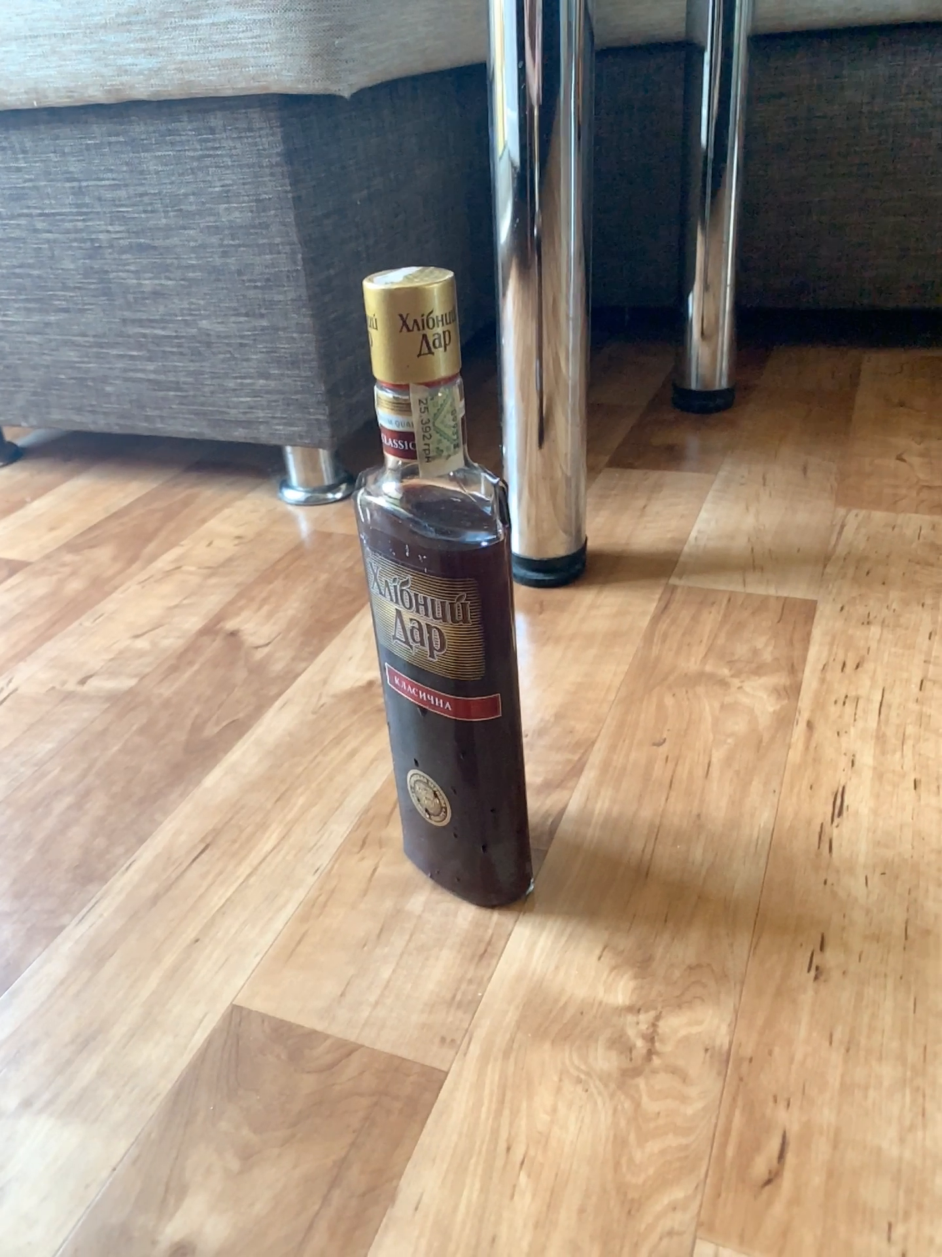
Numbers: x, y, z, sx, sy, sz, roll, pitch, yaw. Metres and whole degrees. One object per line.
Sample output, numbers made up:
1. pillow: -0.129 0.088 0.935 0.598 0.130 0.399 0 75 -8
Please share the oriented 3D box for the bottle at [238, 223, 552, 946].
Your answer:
1. bottle: -0.021 -0.010 0.348 0.050 0.239 0.090 -20 33 -23
